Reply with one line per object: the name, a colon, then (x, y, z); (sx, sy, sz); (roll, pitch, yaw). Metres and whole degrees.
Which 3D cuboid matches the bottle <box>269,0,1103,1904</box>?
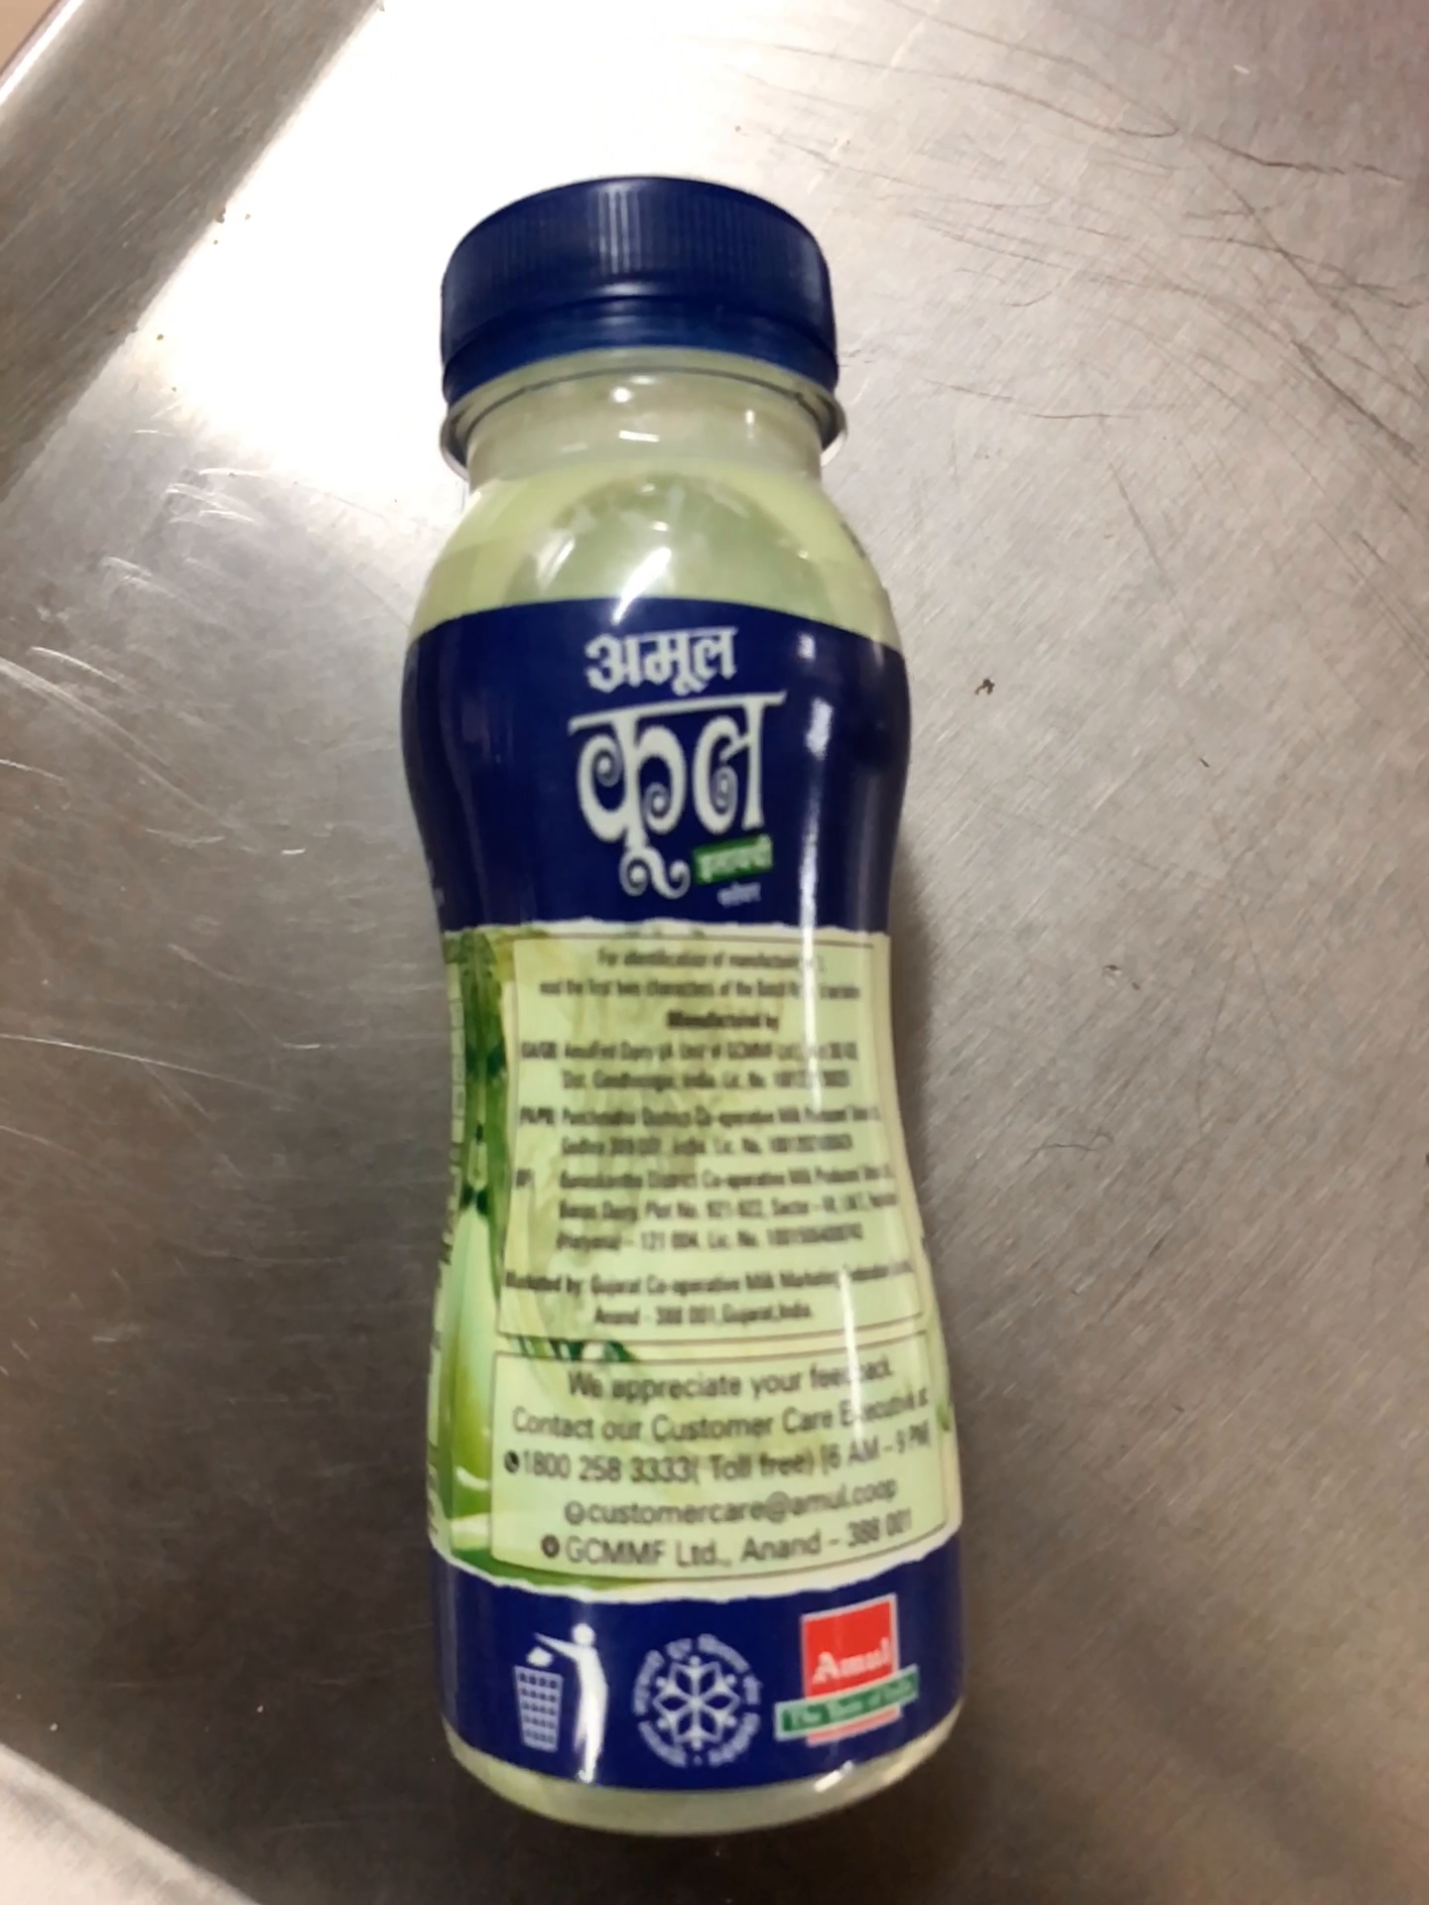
bottle: (-0.003, -0.006, 0.126); (0.050, 0.040, 0.150); (-2, 86, -1)
